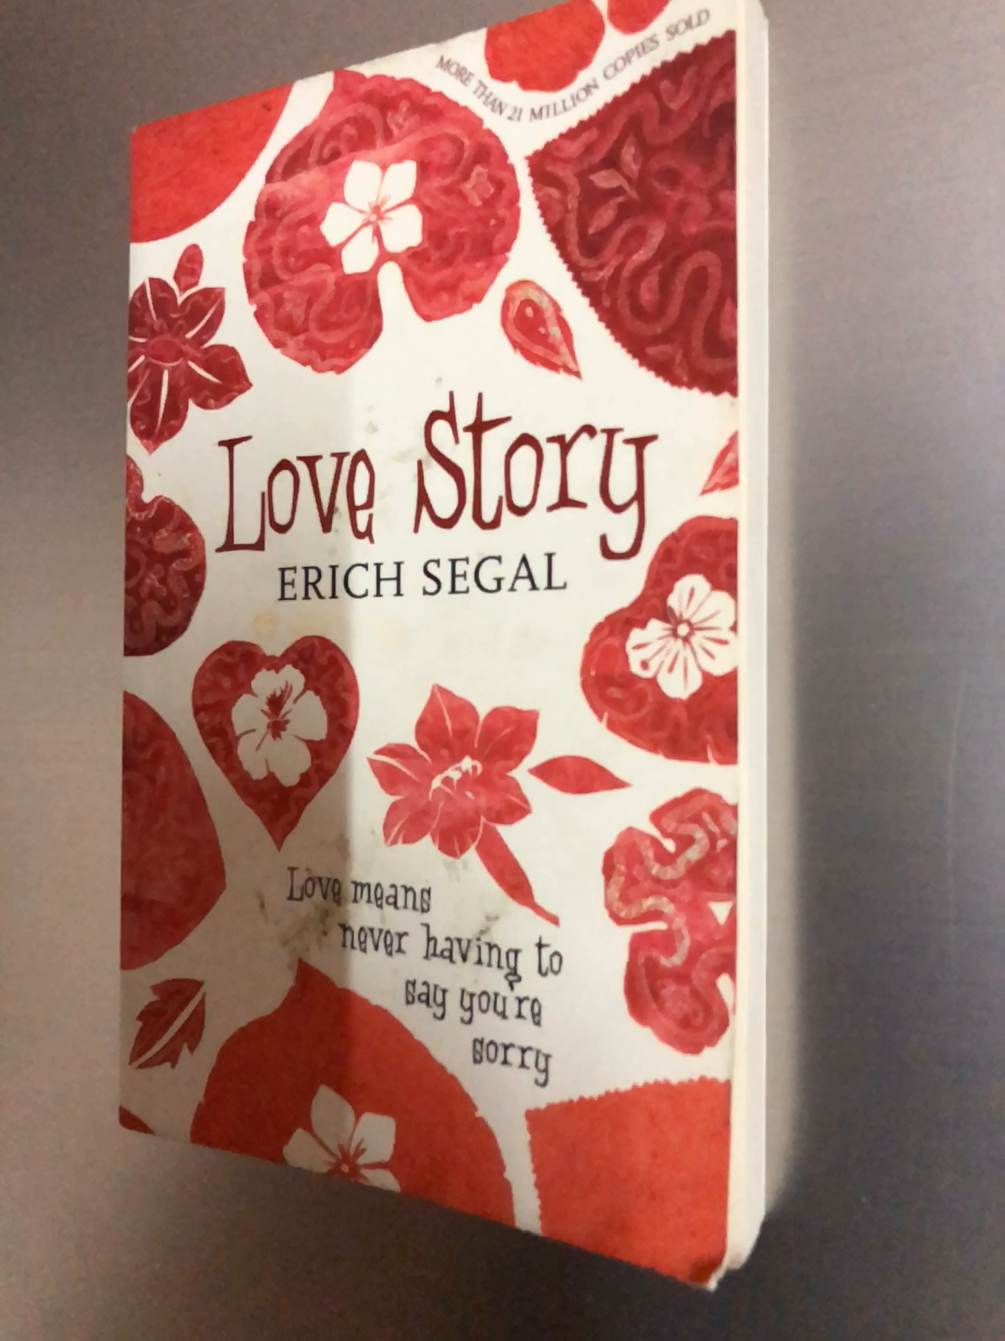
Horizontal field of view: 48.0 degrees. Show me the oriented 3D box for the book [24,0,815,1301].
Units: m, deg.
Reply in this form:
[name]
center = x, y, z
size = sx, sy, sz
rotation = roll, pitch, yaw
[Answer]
[book]
center = -0.016, -0.015, 0.175
size = 0.120, 0.030, 0.180
rotation = 0, 88, 25
